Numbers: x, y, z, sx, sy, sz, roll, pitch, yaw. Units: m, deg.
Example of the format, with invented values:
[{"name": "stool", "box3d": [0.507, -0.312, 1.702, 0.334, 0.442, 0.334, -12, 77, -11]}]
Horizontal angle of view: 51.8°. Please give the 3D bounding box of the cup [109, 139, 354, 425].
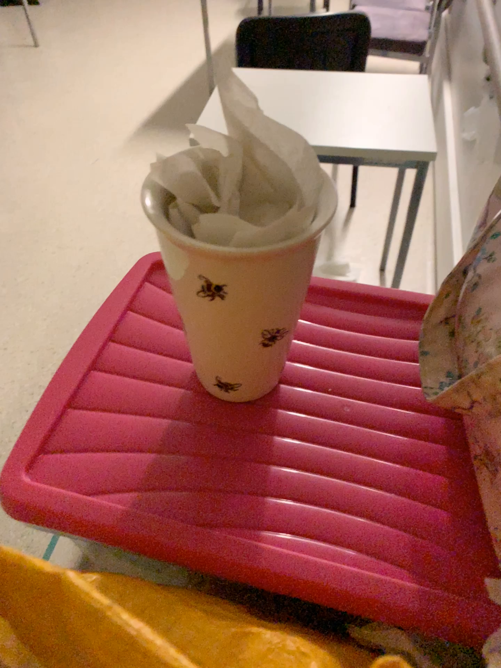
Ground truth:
[{"name": "cup", "box3d": [-0.004, -0.027, 0.282, 0.098, 0.112, 0.091, 1, 48, -1]}]
